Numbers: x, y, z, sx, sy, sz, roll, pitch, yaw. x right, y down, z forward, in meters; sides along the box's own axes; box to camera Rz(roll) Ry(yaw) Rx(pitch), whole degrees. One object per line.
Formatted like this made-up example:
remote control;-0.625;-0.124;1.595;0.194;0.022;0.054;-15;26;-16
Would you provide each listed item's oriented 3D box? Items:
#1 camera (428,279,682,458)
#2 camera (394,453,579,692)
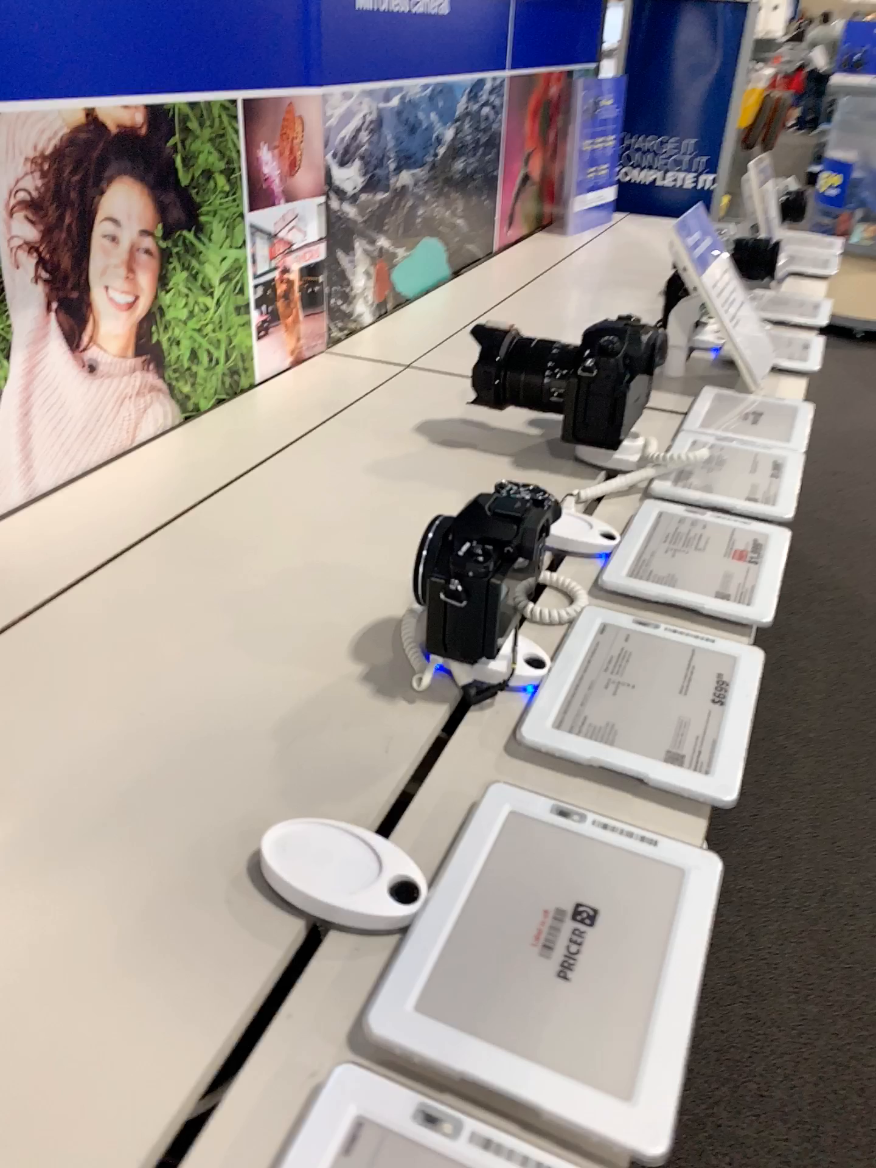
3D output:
camera;0.111;-0.209;0.844;0.200;0.099;0.141;13;34;17
camera;0.032;-0.013;0.546;0.070;0.079;0.131;13;34;17
